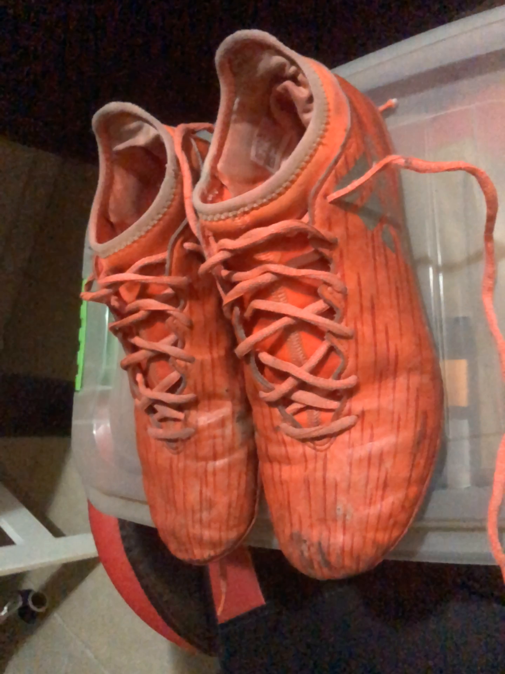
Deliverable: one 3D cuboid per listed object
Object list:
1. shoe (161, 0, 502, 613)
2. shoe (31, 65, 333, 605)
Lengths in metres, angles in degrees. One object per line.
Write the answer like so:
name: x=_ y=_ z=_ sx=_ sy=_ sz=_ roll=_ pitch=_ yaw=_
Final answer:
shoe: x=0.037 y=-0.017 z=0.270 sx=0.090 sy=0.129 sz=0.240 roll=-13 pitch=73 yaw=34
shoe: x=-0.037 y=0.004 z=0.319 sx=0.090 sy=0.129 sz=0.240 roll=-13 pitch=73 yaw=34
